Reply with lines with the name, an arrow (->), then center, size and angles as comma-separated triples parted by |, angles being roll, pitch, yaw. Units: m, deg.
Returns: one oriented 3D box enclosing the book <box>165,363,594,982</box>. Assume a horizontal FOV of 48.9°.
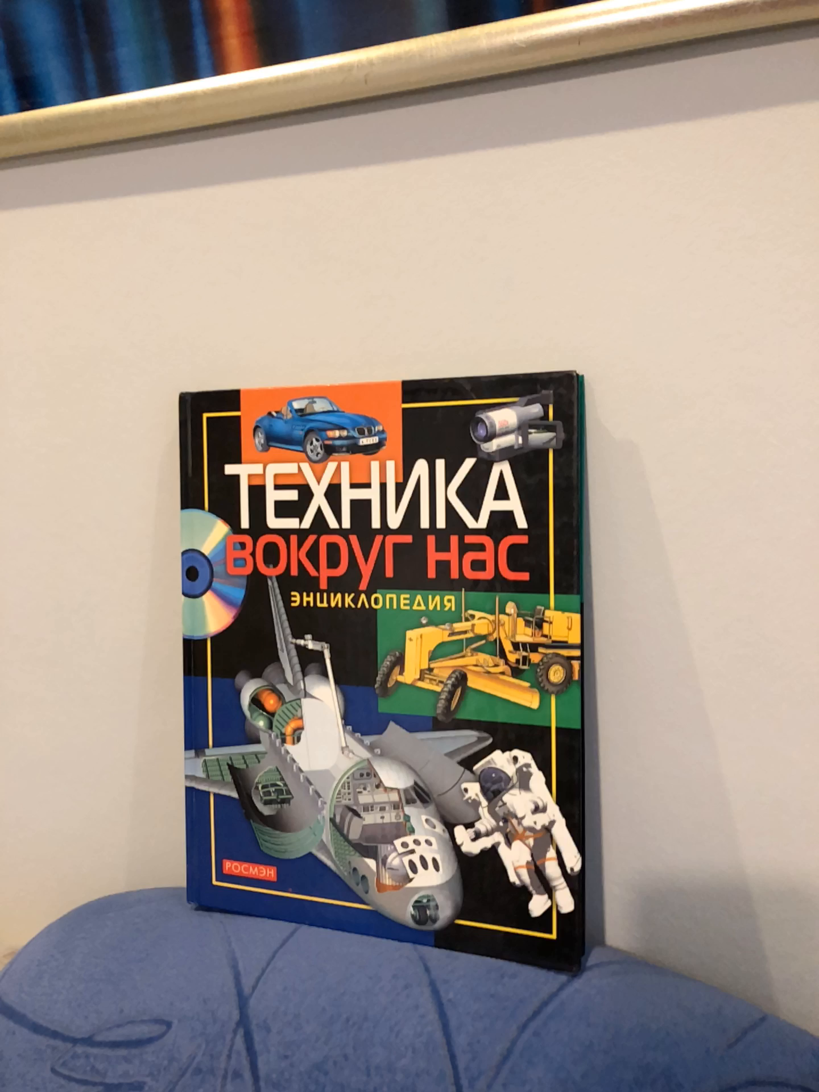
book -> -0.020, 0.057, 0.459 | 0.220, 0.280, 0.030 | 0, 2, 21
